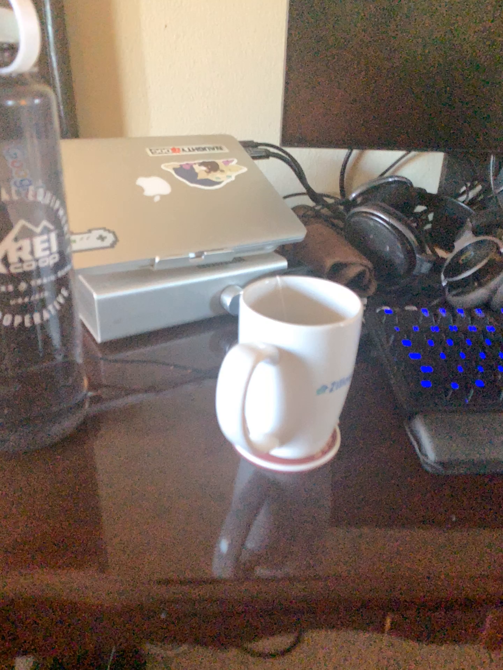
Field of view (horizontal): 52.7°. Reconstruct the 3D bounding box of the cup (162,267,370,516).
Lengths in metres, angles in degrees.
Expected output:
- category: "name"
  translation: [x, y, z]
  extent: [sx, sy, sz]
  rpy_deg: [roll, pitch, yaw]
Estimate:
- category: "cup"
  translation: [0.015, 0.029, 0.360]
  extent: [0.100, 0.099, 0.131]
  rpy_deg: [13, 31, 17]
